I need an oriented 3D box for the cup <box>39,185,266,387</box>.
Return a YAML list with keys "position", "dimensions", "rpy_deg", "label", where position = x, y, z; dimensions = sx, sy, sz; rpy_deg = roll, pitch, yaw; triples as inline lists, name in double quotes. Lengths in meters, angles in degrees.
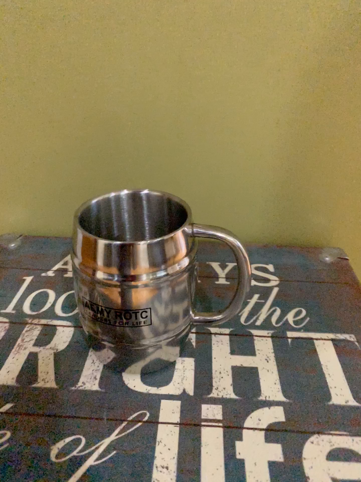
- position: [-0.014, 0.030, 0.278]
  dimensions: [0.128, 0.113, 0.089]
  rpy_deg: [2, 31, 2]
  label: "cup"
